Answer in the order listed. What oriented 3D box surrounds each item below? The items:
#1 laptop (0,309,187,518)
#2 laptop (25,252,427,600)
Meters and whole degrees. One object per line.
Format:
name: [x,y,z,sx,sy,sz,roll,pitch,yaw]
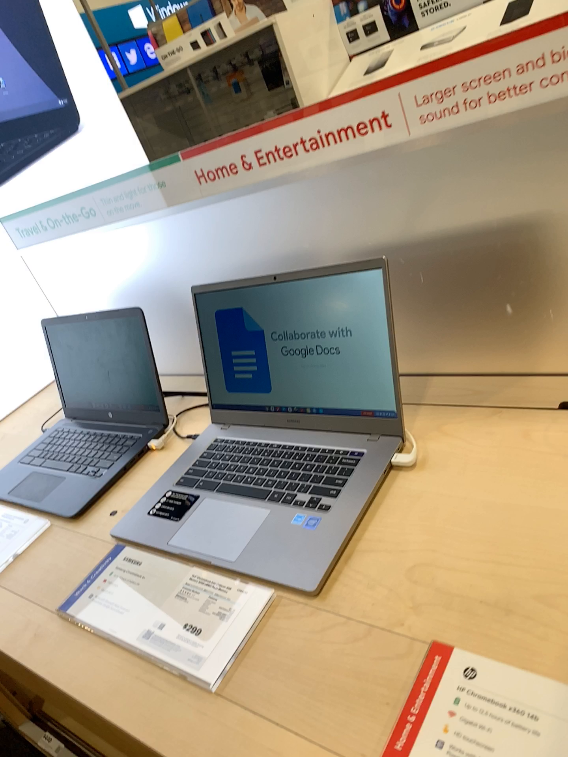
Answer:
laptop: [-0.409,0.045,1.030,0.321,0.193,0.294,0,34,38]
laptop: [-0.062,0.033,0.751,0.352,0.205,0.338,0,36,39]
